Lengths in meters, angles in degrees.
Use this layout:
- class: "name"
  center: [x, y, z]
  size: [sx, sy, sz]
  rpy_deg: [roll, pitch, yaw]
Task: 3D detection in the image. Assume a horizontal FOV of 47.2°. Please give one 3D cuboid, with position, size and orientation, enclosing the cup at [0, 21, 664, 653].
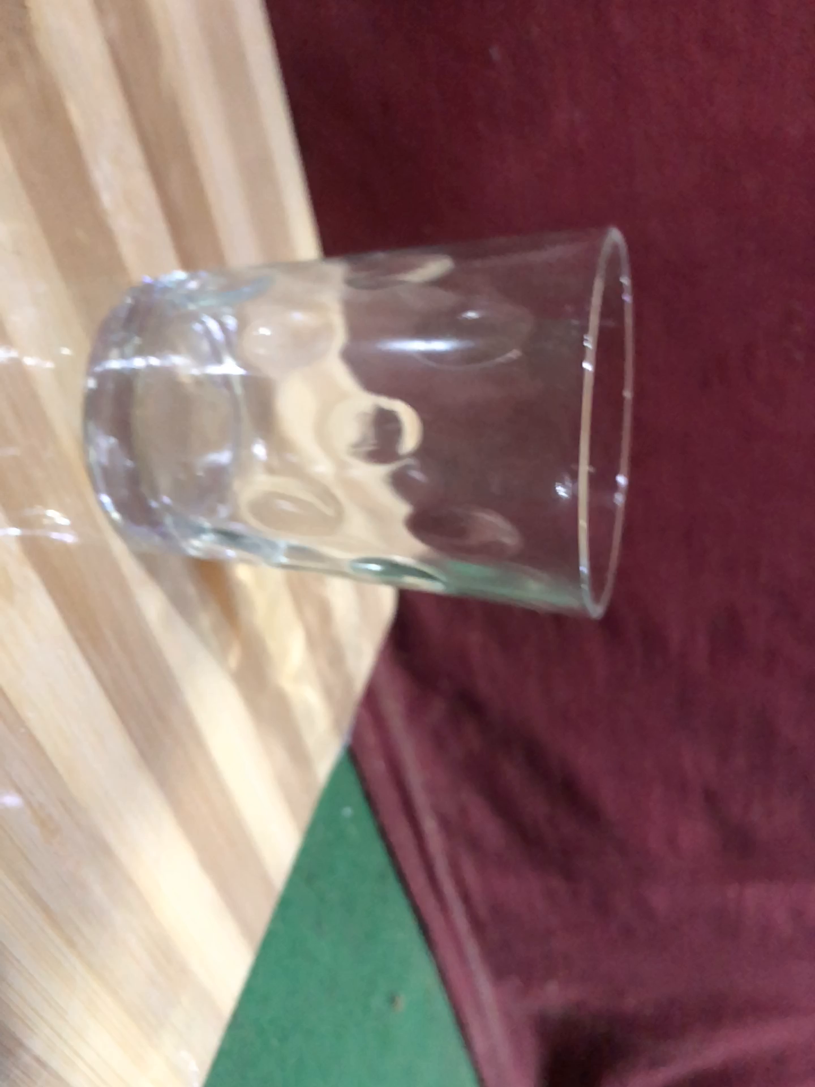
- class: "cup"
  center: [-0.006, -0.032, 0.212]
  size: [0.101, 0.119, 0.100]
  rpy_deg: [2, 90, -74]
